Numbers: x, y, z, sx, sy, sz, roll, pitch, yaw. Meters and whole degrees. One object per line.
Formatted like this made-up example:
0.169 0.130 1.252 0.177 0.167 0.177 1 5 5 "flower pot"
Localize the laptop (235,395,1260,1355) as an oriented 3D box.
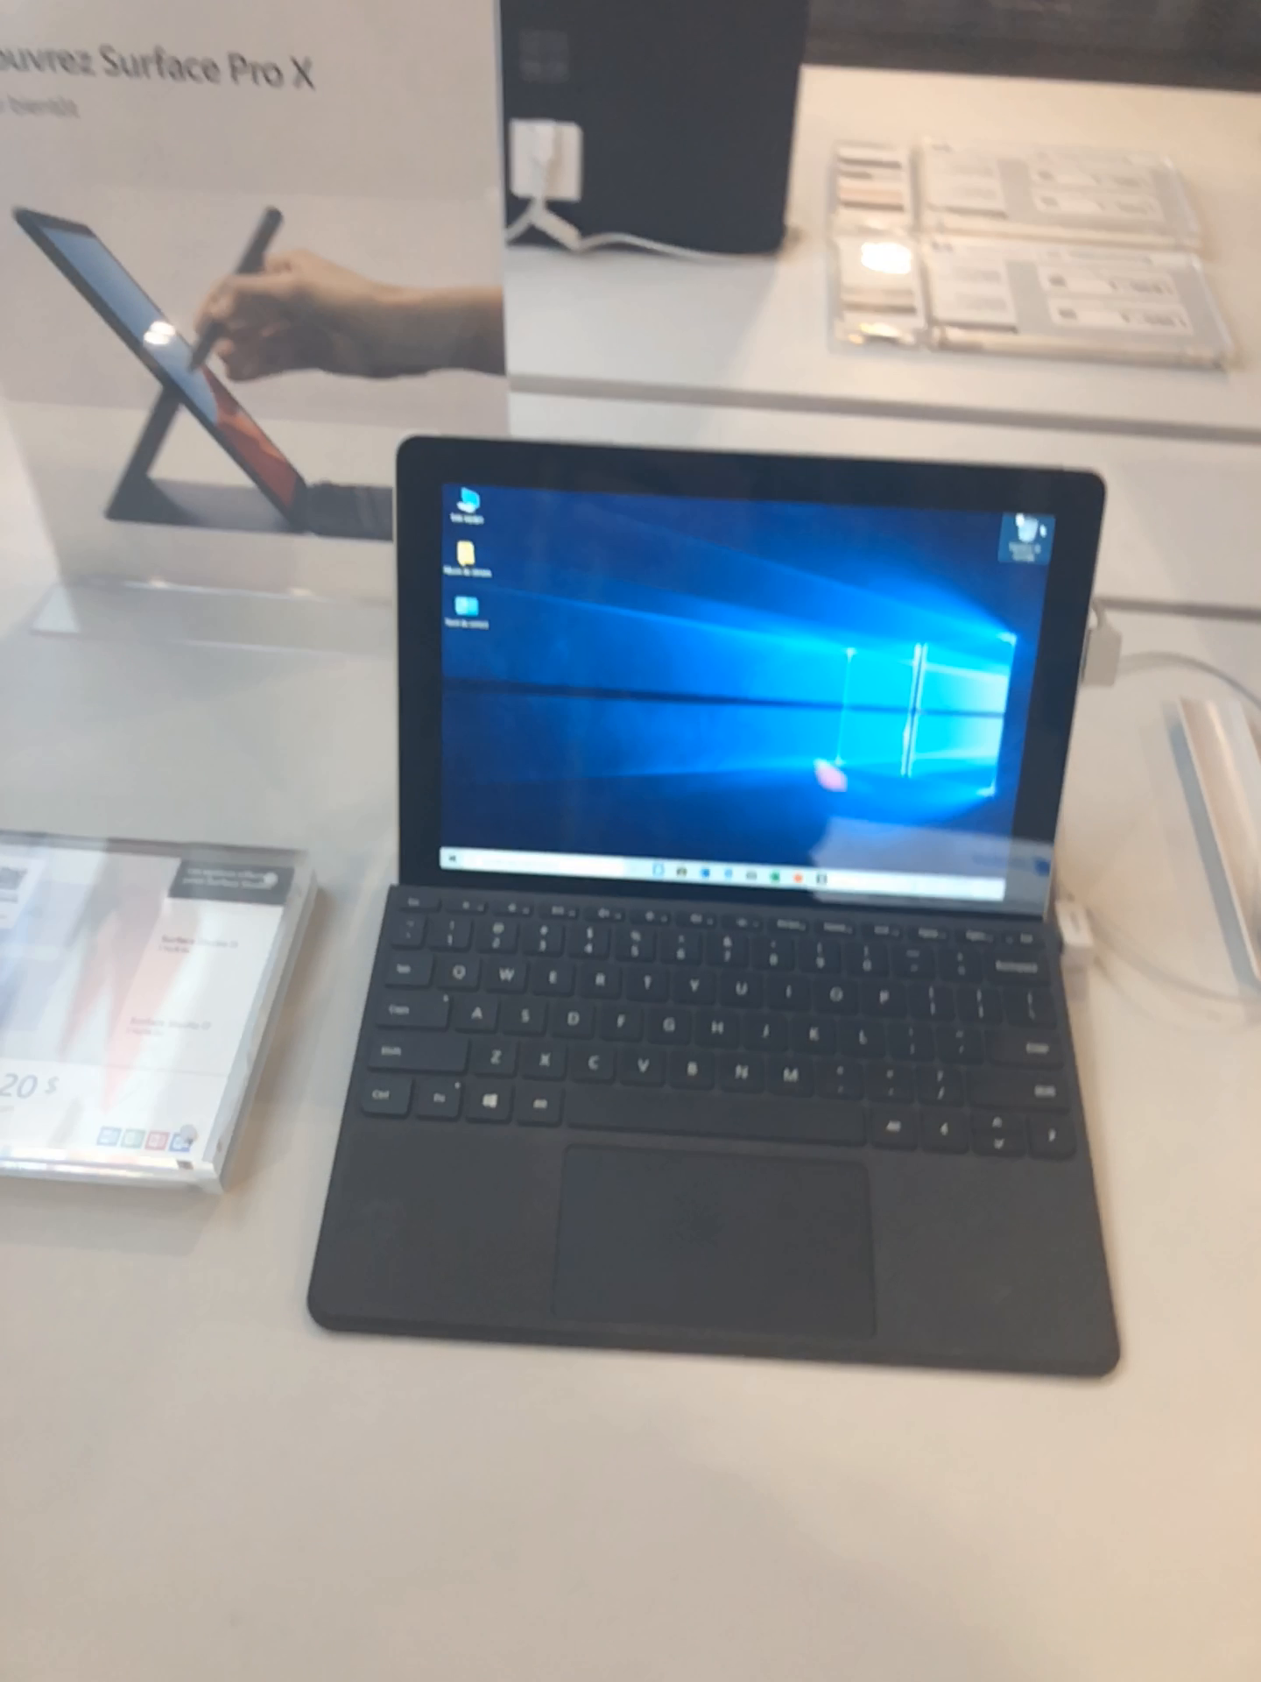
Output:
0.029 0.002 0.448 0.236 0.140 0.251 3 50 -1 "laptop"
